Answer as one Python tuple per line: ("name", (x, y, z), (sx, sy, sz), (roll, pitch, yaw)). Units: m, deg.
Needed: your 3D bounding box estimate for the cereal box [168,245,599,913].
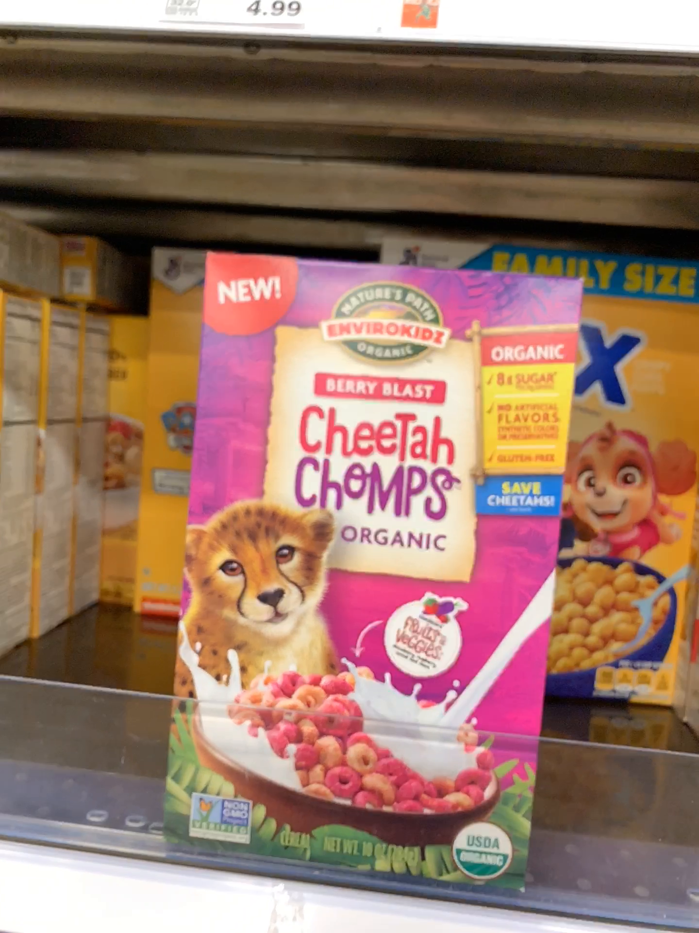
("cereal box", (0.014, 0.046, 0.343), (0.160, 0.270, 0.060), (5, 2, 5))
